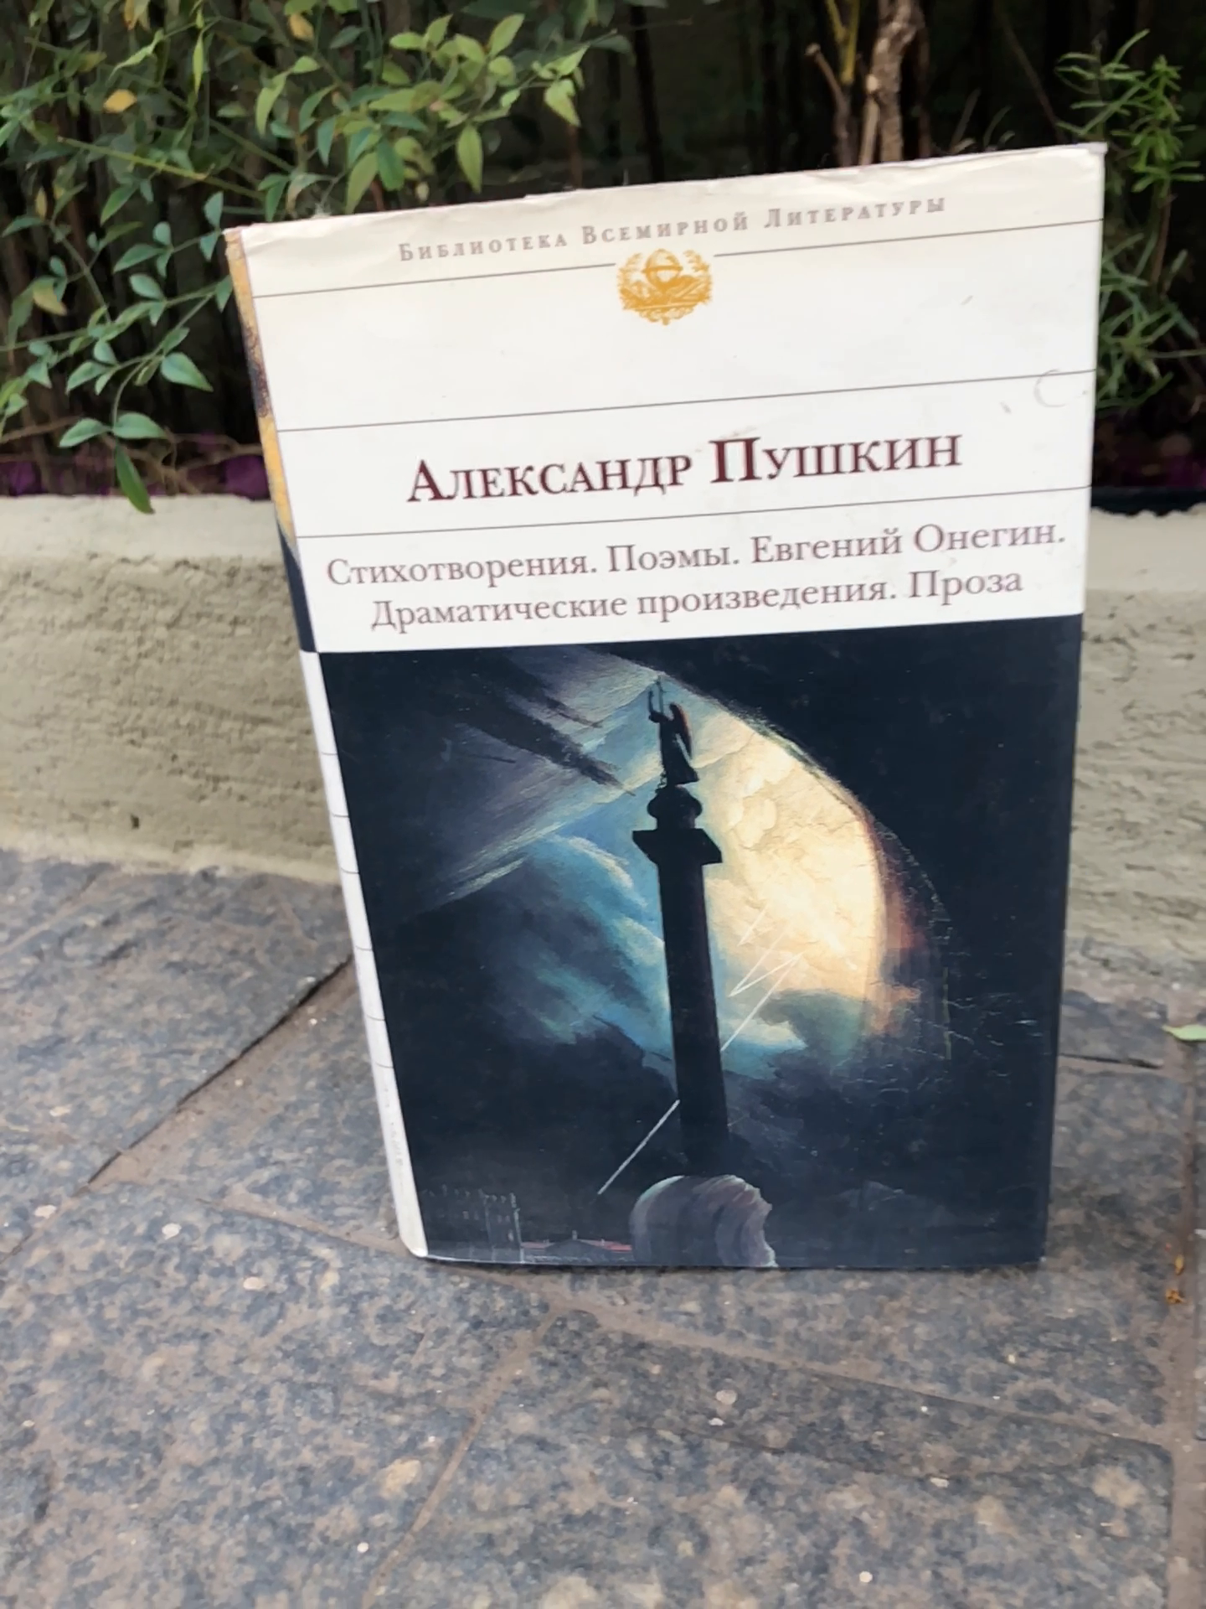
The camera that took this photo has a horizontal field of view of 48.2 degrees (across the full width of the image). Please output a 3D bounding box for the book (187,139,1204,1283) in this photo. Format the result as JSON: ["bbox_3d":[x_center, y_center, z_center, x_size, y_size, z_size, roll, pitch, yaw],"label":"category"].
[{"bbox_3d":[0.019,-0.008,0.260,0.150,0.204,0.050,-1,22,6],"label":"book"}]
